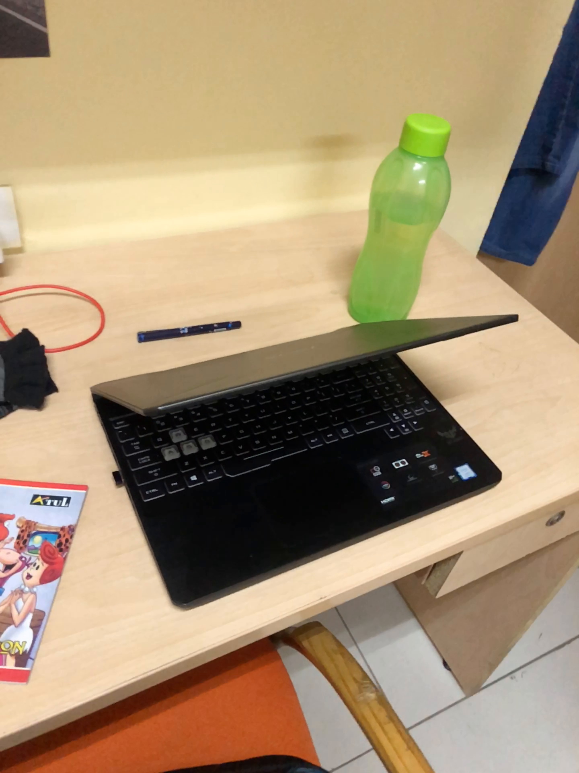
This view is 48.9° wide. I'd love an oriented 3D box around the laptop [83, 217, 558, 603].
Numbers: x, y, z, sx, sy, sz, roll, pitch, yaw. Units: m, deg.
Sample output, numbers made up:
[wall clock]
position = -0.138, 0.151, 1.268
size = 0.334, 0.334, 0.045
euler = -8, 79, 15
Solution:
[laptop]
position = 0.016, -0.004, 0.604
size = 0.340, 0.147, 0.248
euler = -15, 51, -24
